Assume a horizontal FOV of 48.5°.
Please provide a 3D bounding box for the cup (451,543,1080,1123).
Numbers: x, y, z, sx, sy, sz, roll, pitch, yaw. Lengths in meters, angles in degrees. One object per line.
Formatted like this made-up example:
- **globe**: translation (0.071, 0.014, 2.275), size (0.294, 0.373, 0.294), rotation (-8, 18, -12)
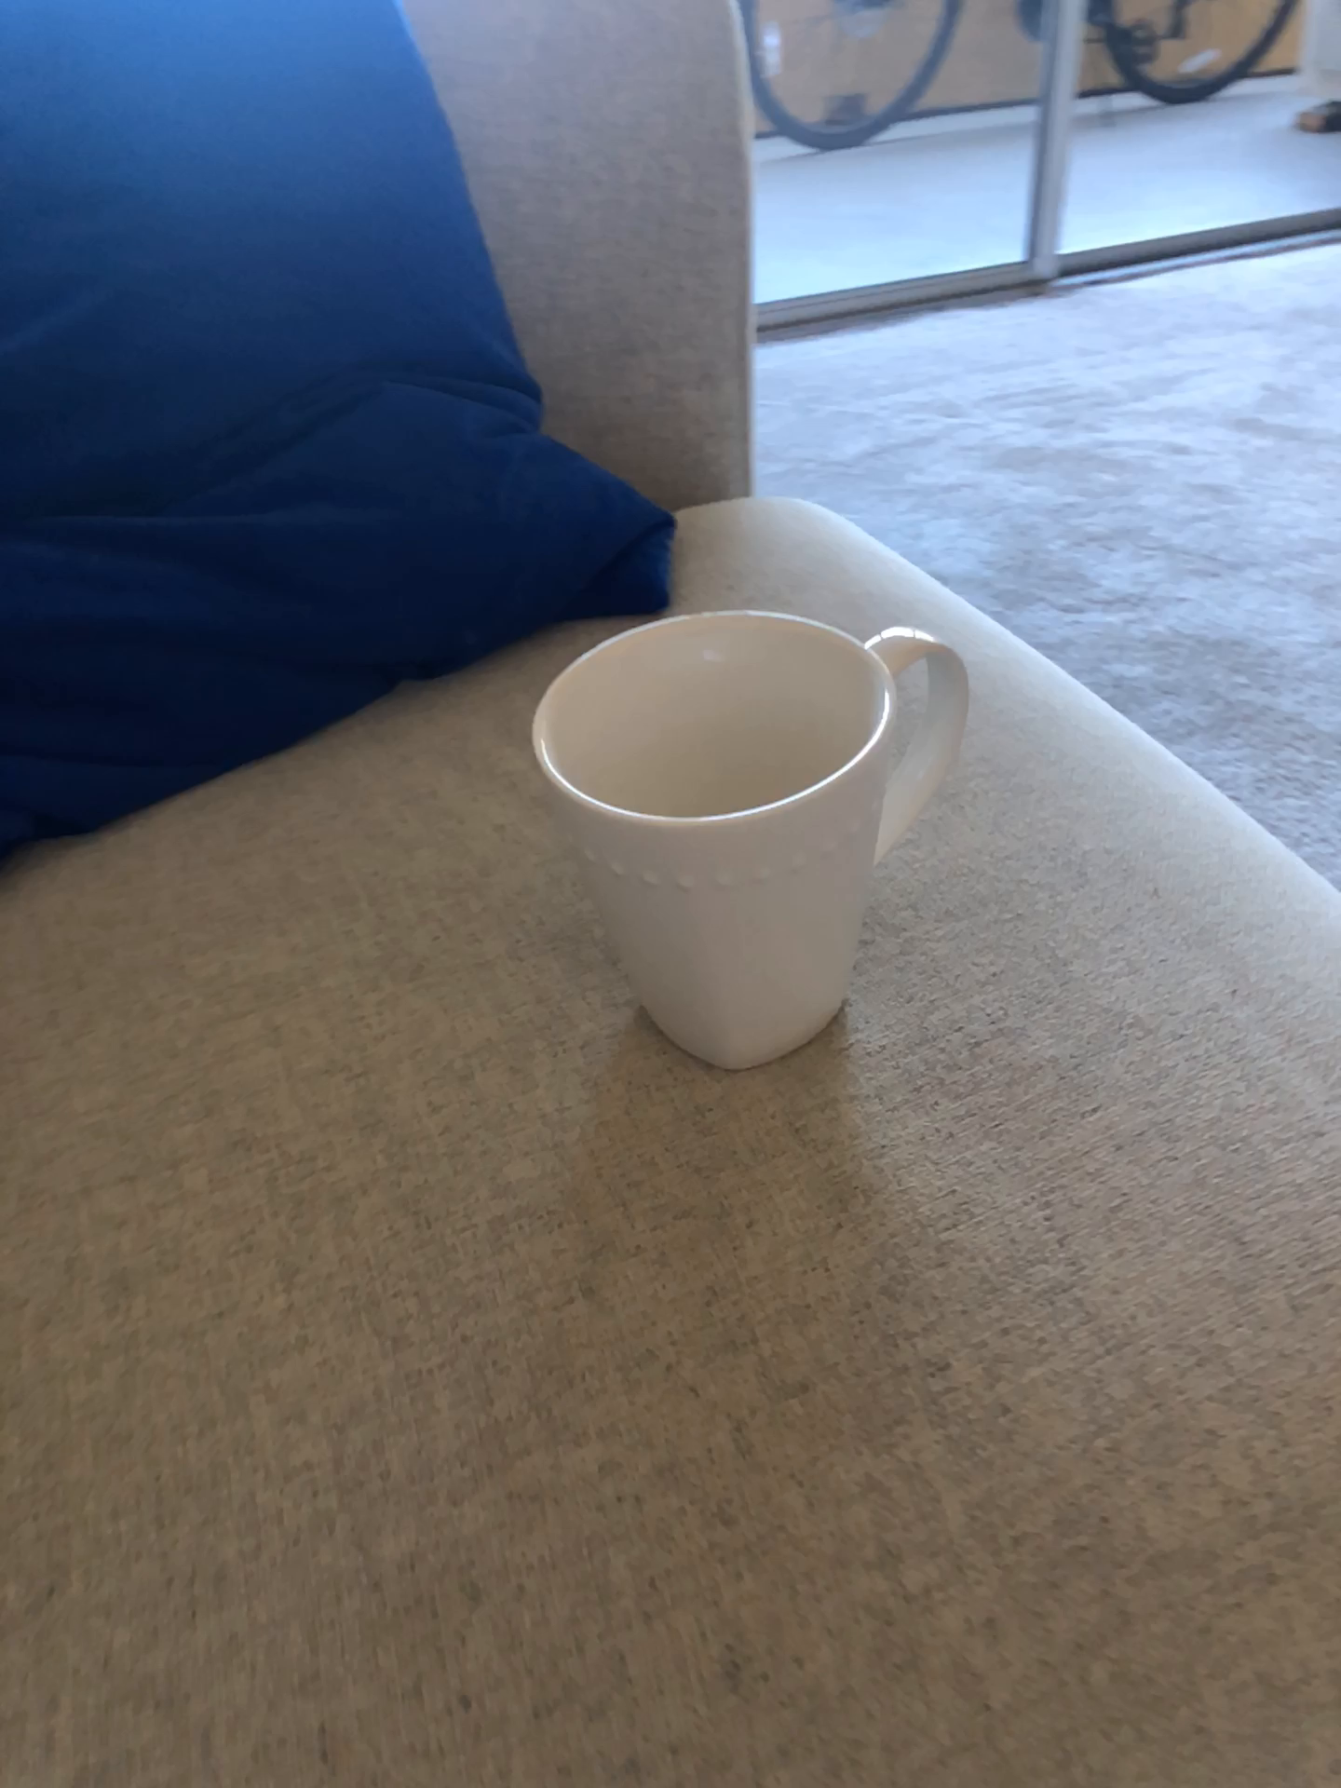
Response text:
- **cup**: translation (0.024, -0.023, 0.413), size (0.130, 0.090, 0.100), rotation (-20, 39, -22)
